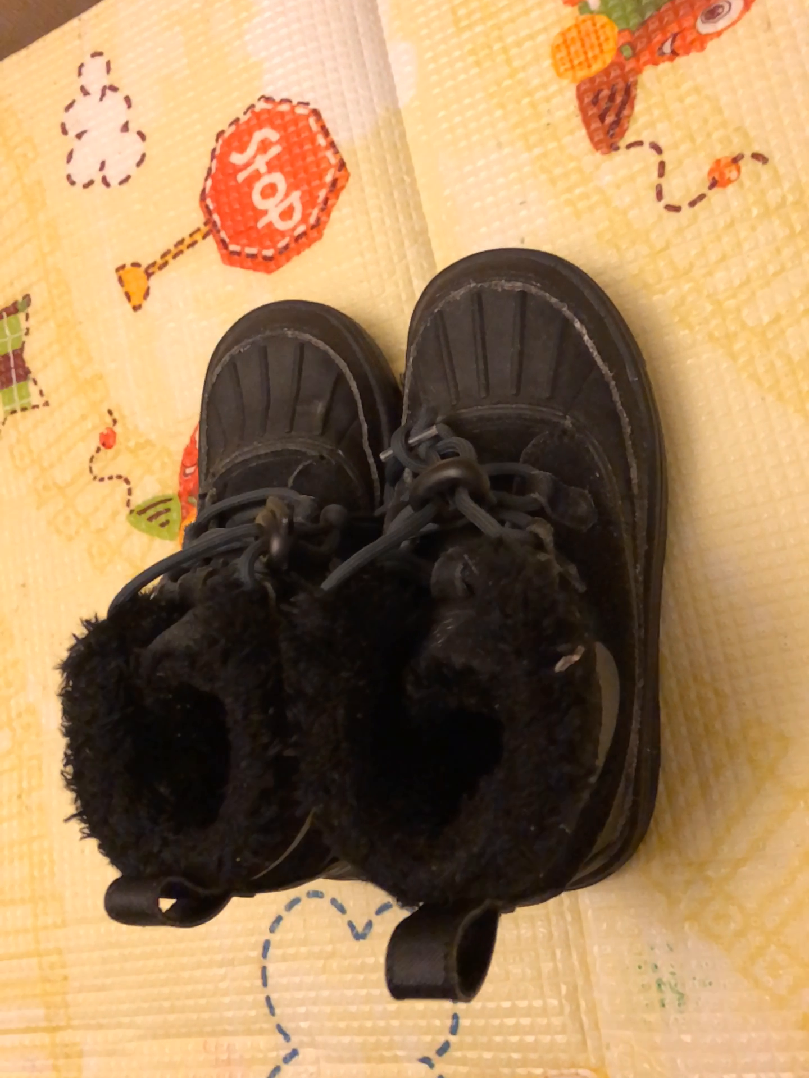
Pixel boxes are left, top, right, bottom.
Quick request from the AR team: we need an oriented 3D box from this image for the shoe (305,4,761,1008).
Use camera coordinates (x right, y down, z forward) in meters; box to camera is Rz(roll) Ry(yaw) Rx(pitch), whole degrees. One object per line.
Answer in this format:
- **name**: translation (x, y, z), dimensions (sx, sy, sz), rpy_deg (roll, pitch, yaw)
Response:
- **shoe**: translation (0.041, -0.006, 0.261), dimensions (0.090, 0.110, 0.220), rpy_deg (-6, 81, 24)

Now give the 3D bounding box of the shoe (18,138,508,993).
- **shoe**: translation (-0.041, 0.012, 0.289), dimensions (0.090, 0.120, 0.210), rpy_deg (-10, 79, 24)
